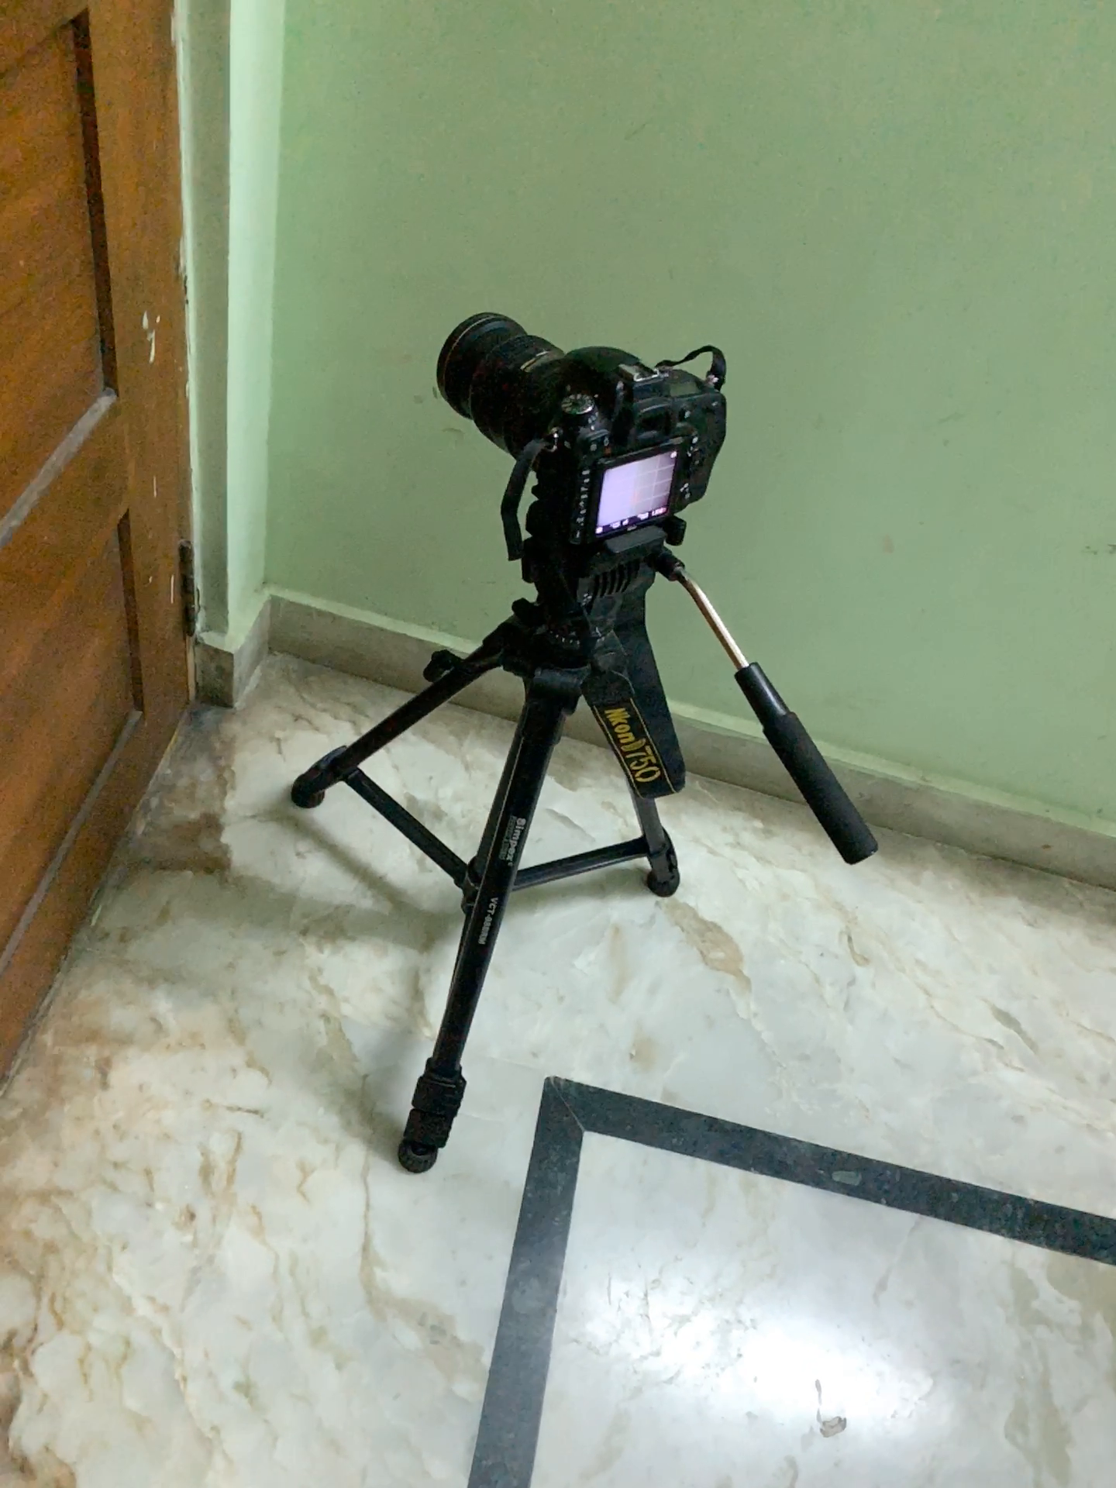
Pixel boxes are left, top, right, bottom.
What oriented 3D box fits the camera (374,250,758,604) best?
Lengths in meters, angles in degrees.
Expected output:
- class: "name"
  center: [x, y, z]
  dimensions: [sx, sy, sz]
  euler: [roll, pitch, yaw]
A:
- class: "camera"
  center: [-0.001, -0.234, 0.817]
  dimensions: [0.175, 0.128, 0.189]
  euler: [-26, 62, -32]
